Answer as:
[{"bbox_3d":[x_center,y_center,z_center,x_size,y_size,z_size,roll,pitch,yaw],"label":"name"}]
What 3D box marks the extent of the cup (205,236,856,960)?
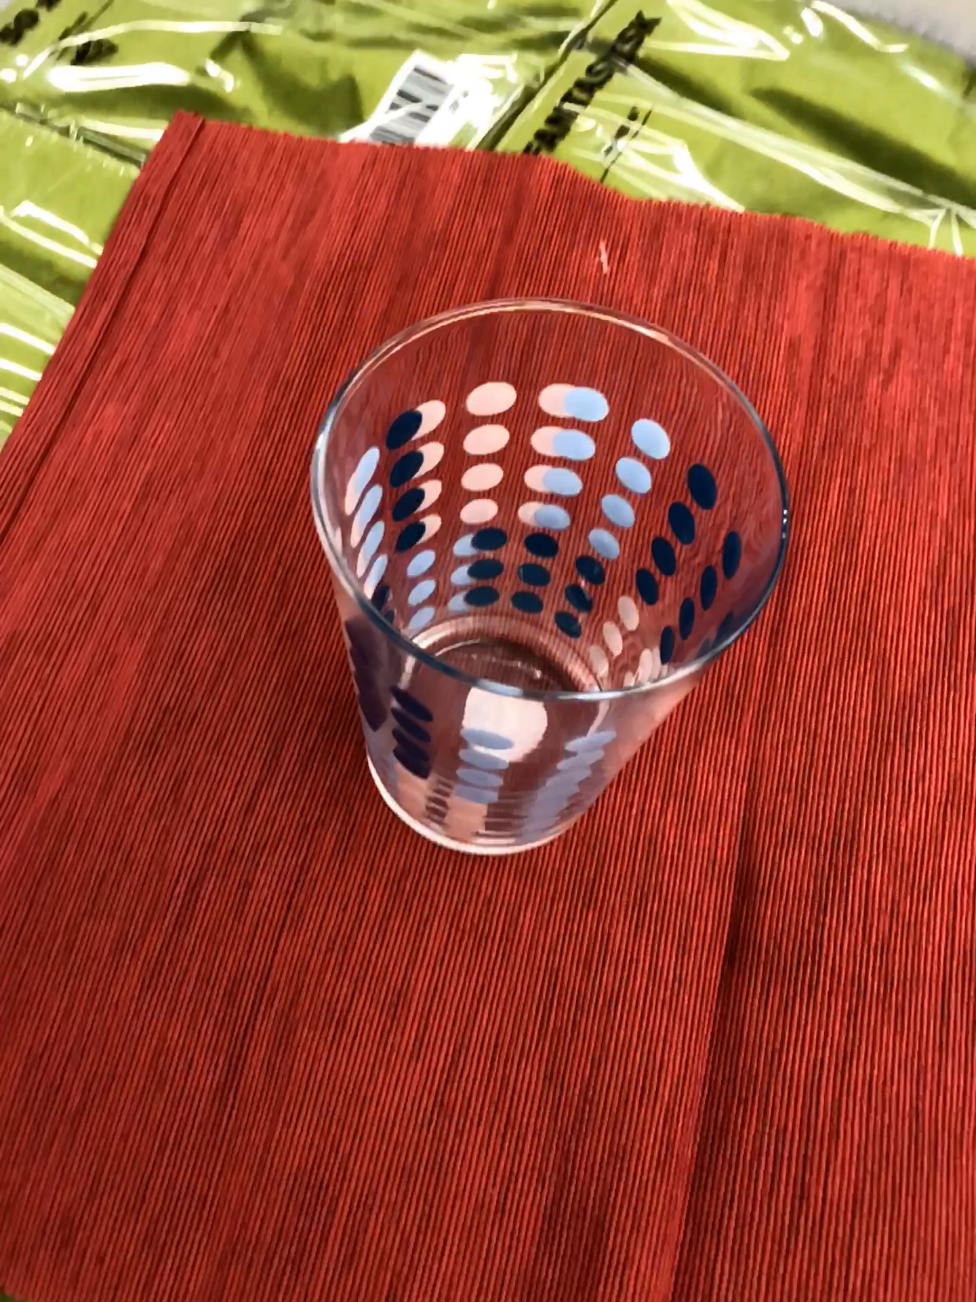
[{"bbox_3d":[0.009,-0.002,0.239,0.090,0.120,0.090,1,63,-3],"label":"cup"}]
